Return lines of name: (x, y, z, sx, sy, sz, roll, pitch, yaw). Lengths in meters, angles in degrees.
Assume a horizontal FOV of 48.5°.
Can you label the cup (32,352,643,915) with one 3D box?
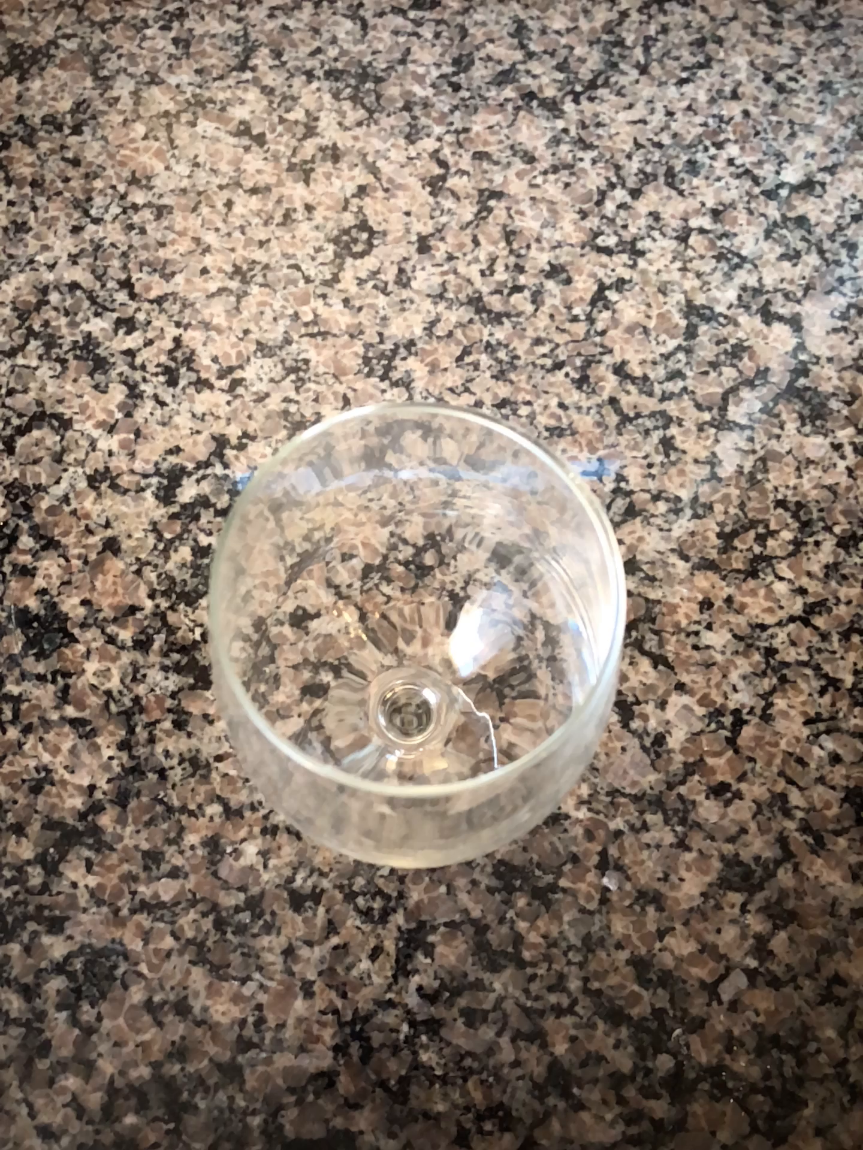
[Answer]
cup: (-0.016, 0.041, 0.269, 0.095, 0.218, 0.097, 0, 71, -1)
